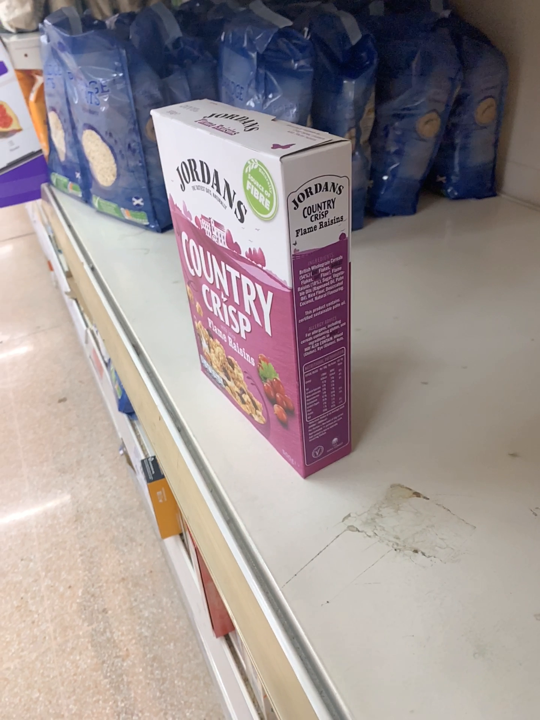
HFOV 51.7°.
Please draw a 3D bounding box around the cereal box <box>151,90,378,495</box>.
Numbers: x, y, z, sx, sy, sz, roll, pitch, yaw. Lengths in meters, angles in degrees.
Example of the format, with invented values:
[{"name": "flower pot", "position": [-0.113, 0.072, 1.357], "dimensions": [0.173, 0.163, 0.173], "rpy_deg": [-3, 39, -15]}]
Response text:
[{"name": "cereal box", "position": [-0.008, -0.056, 0.439], "dimensions": [0.050, 0.257, 0.201], "rpy_deg": [-23, 39, -24]}]
